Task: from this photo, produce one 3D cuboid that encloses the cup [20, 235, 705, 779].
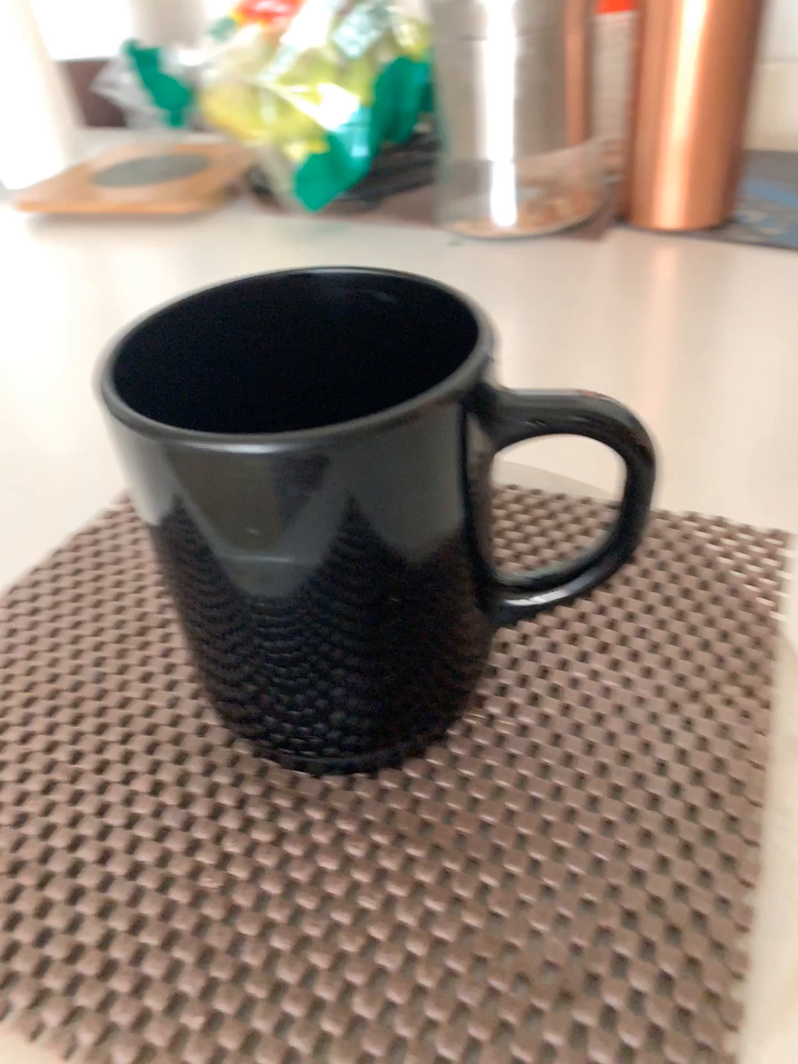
[{"bbox_3d":[-0.001,-0.006,0.175,0.100,0.080,0.077,-1,38,7],"label":"cup"}]
